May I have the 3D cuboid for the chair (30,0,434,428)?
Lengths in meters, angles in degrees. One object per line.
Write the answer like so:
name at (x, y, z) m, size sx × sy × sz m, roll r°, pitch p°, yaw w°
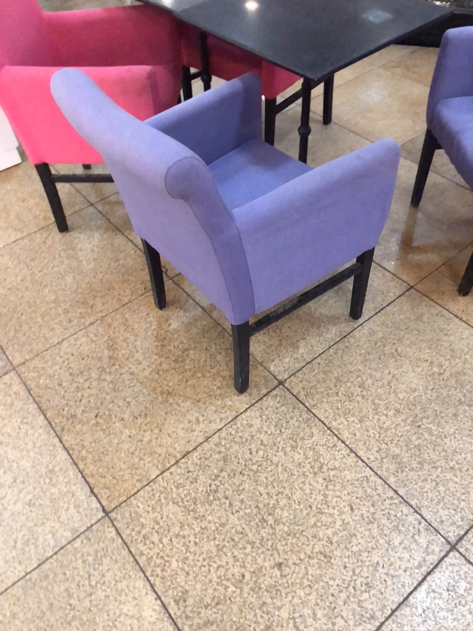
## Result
chair at (-0.004, -0.281, 1.387) m, size 0.611 × 0.817 × 0.591 m, roll -33°, pitch 54°, yaw -22°
